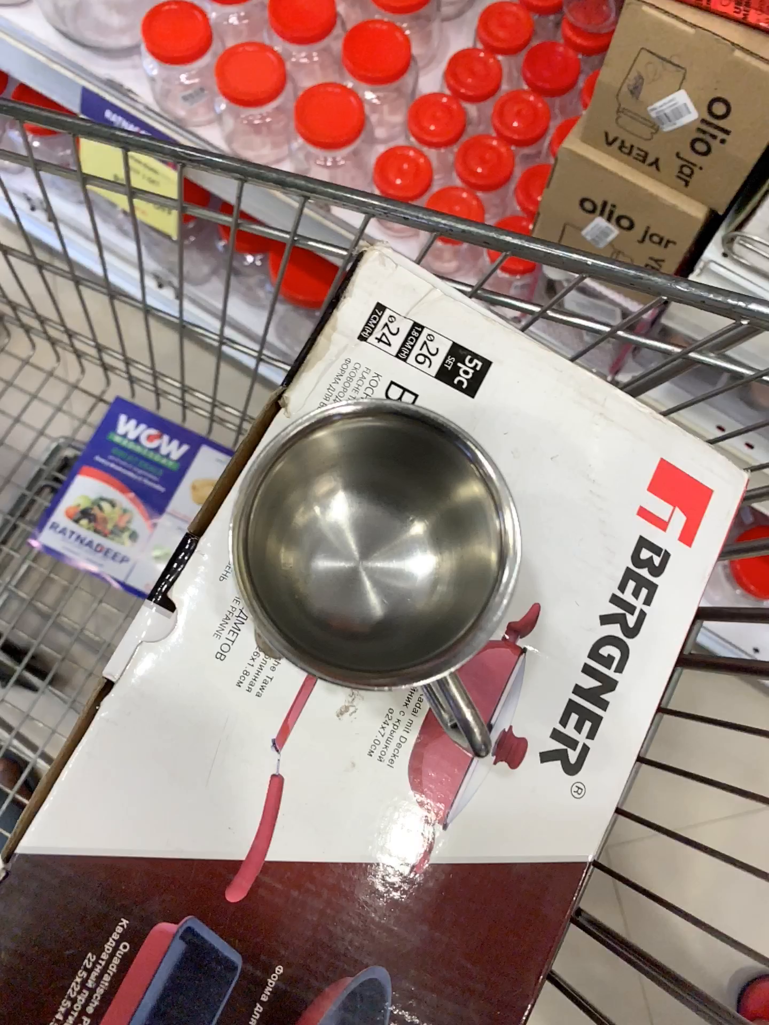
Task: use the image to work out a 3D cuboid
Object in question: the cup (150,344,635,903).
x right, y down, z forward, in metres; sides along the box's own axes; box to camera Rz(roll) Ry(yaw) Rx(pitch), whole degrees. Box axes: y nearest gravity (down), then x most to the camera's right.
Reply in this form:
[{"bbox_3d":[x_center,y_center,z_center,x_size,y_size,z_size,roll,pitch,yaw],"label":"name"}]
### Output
[{"bbox_3d":[-0.001,0.023,0.177,0.060,0.050,0.090,-24,77,-8],"label":"cup"}]
